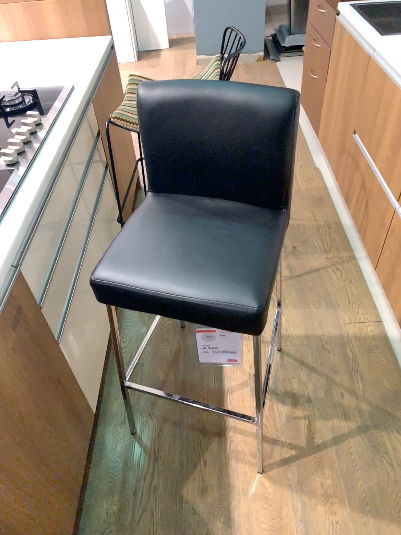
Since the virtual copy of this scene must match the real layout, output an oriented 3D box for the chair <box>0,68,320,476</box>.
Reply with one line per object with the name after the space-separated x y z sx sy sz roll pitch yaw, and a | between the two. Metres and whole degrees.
-0.009 0.071 1.168 0.500 1.026 0.522 9 46 14 | chair
